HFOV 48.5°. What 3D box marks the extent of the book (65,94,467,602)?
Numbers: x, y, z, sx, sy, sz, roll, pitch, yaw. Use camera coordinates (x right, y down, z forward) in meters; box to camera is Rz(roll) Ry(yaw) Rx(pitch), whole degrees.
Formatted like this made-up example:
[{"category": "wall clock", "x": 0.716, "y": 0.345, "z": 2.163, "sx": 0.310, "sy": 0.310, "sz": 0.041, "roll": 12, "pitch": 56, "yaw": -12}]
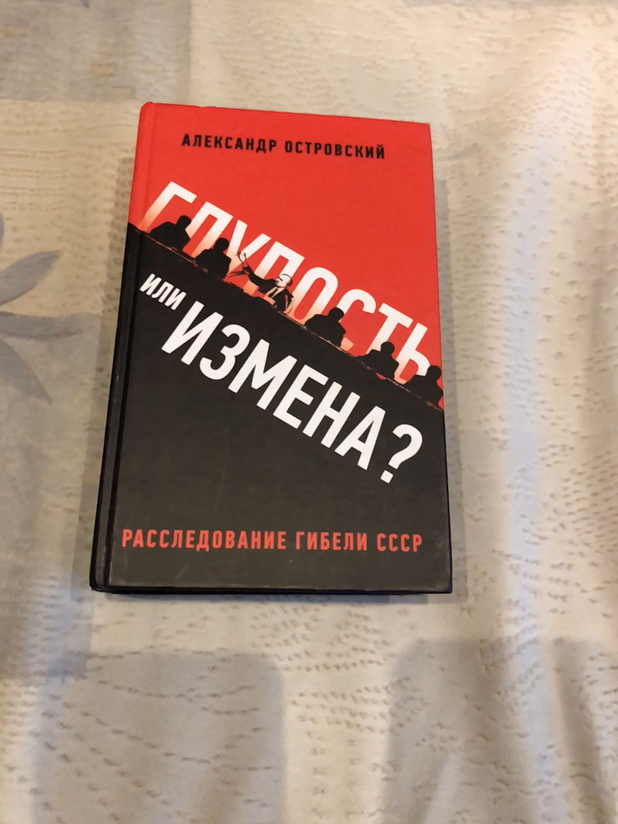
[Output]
[{"category": "book", "x": -0.014, "y": -0.027, "z": 0.285, "sx": 0.135, "sy": 0.050, "sz": 0.200, "roll": 3, "pitch": 72, "yaw": -5}]
